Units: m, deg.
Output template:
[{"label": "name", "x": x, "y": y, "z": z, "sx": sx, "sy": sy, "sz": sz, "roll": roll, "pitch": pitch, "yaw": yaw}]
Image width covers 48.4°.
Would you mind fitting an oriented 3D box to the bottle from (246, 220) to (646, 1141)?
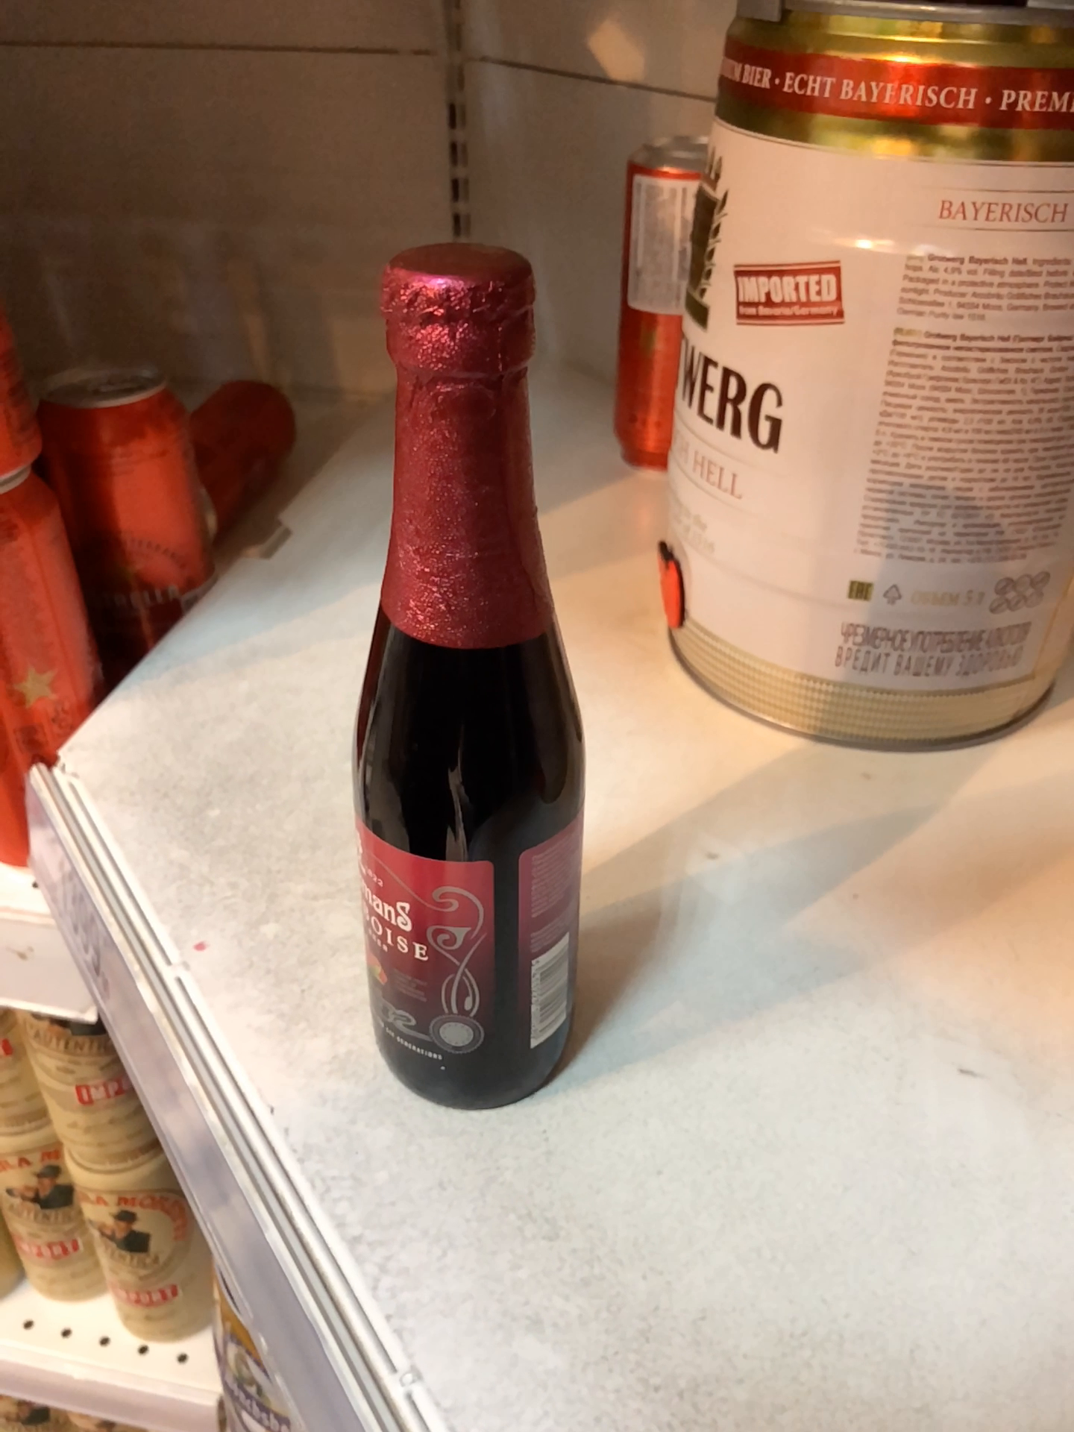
[{"label": "bottle", "x": -0.018, "y": 0.001, "z": 0.271, "sx": 0.058, "sy": 0.199, "sz": 0.058, "roll": 0, "pitch": 34, "yaw": 0}]
